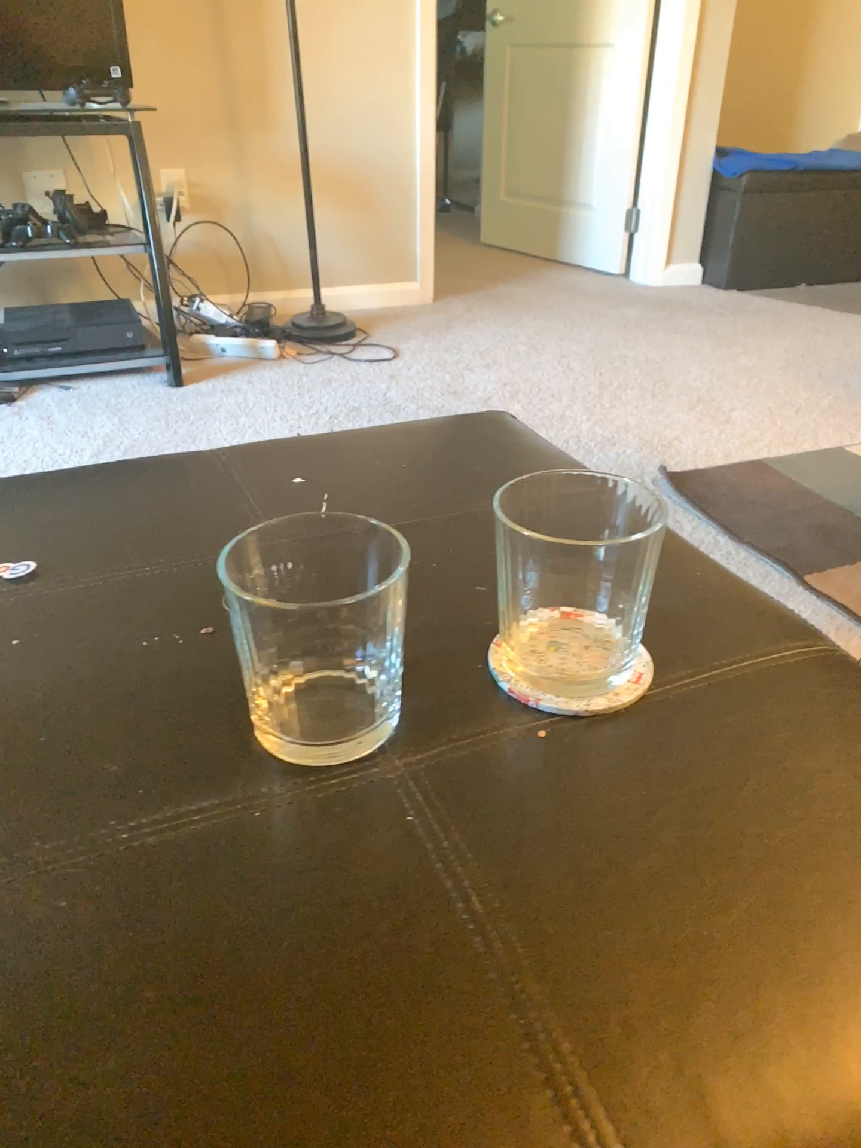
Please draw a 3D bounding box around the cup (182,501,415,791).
[{"bbox_3d":[-0.057,0.032,0.423,0.080,0.099,0.080,0,30,0],"label":"cup"}]

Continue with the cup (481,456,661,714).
[{"bbox_3d":[0.077,0.003,0.482,0.080,0.099,0.090,7,31,12],"label":"cup"}]
